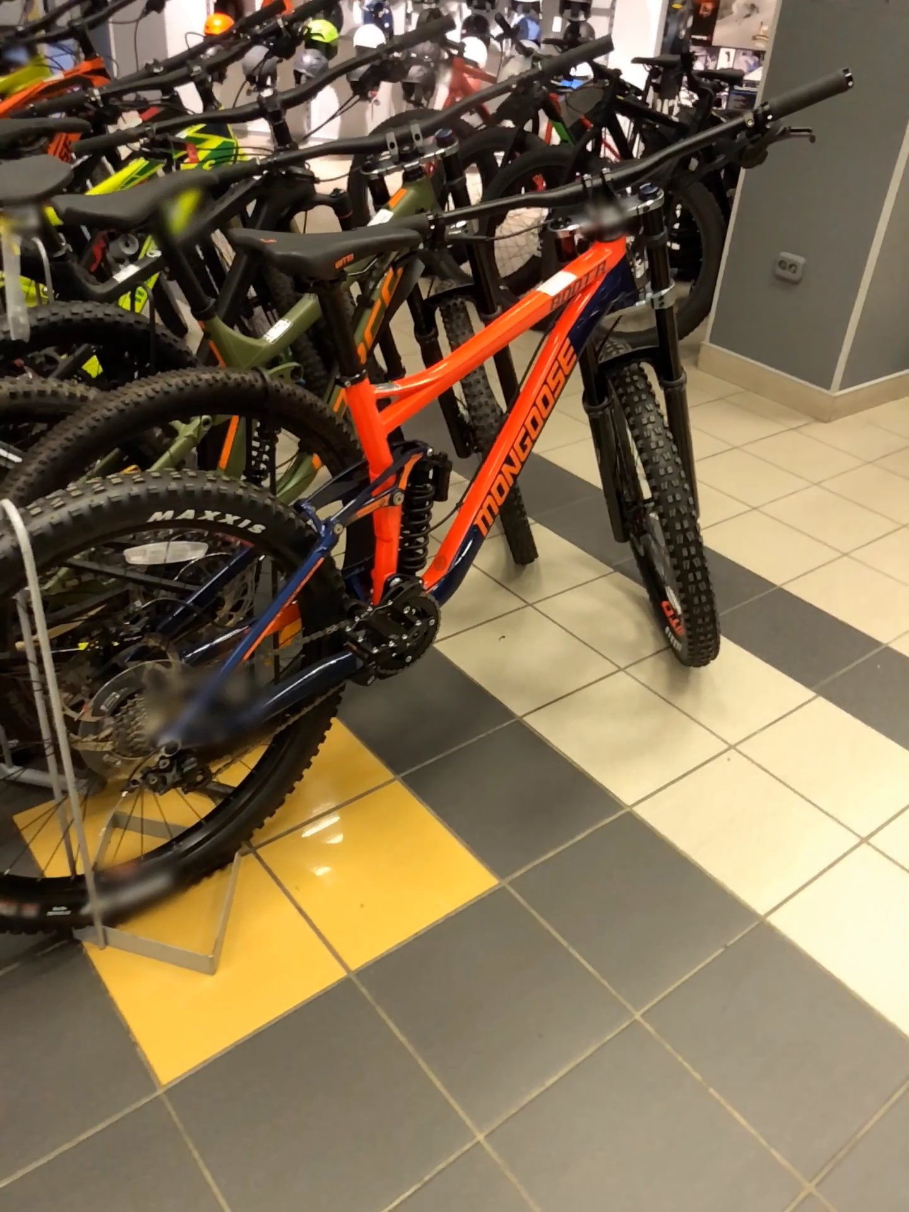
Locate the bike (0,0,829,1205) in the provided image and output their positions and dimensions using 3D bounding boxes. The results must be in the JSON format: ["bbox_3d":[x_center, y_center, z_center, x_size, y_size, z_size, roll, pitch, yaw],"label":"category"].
[{"bbox_3d":[-0.181,-0.337,1.671,0.802,1.108,1.705,26,40,31],"label":"bike"}]
